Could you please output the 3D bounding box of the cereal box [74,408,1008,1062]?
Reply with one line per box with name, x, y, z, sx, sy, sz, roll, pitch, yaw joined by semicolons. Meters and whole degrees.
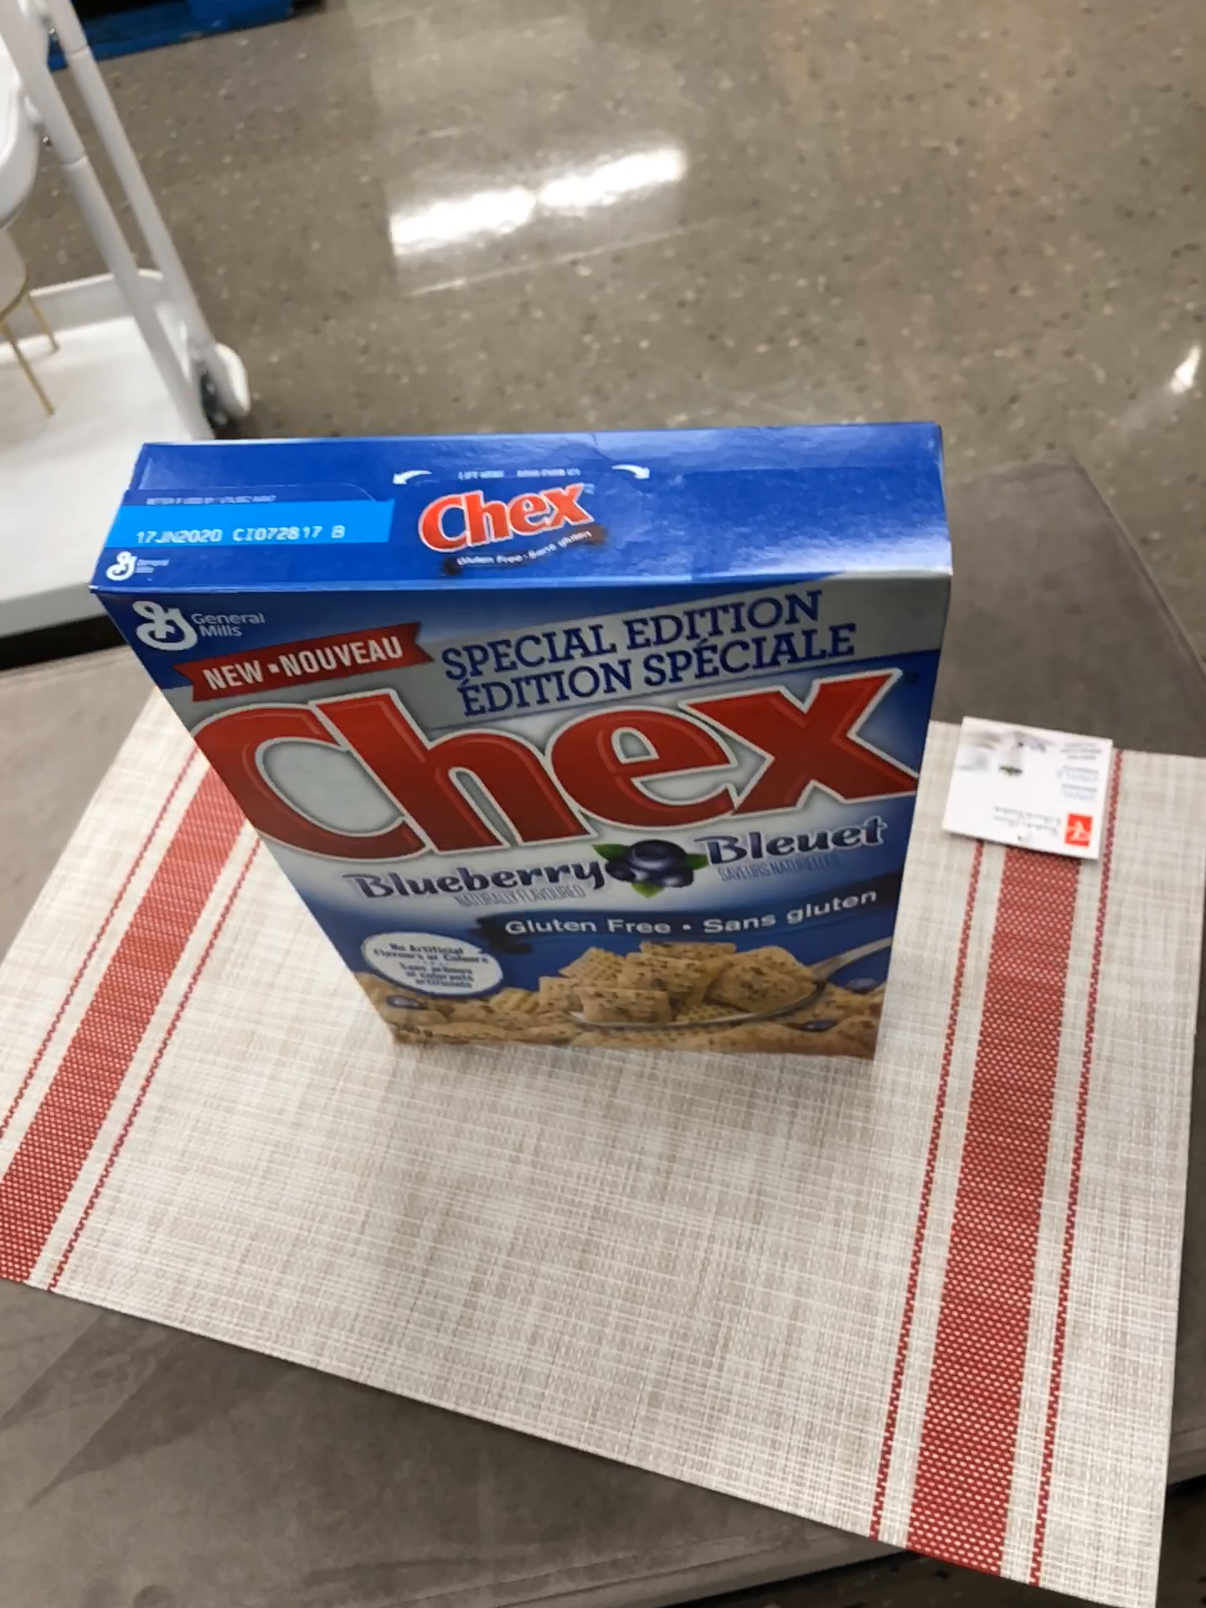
cereal box;-0.003;0.002;0.406;0.200;0.259;0.050;1;58;7
